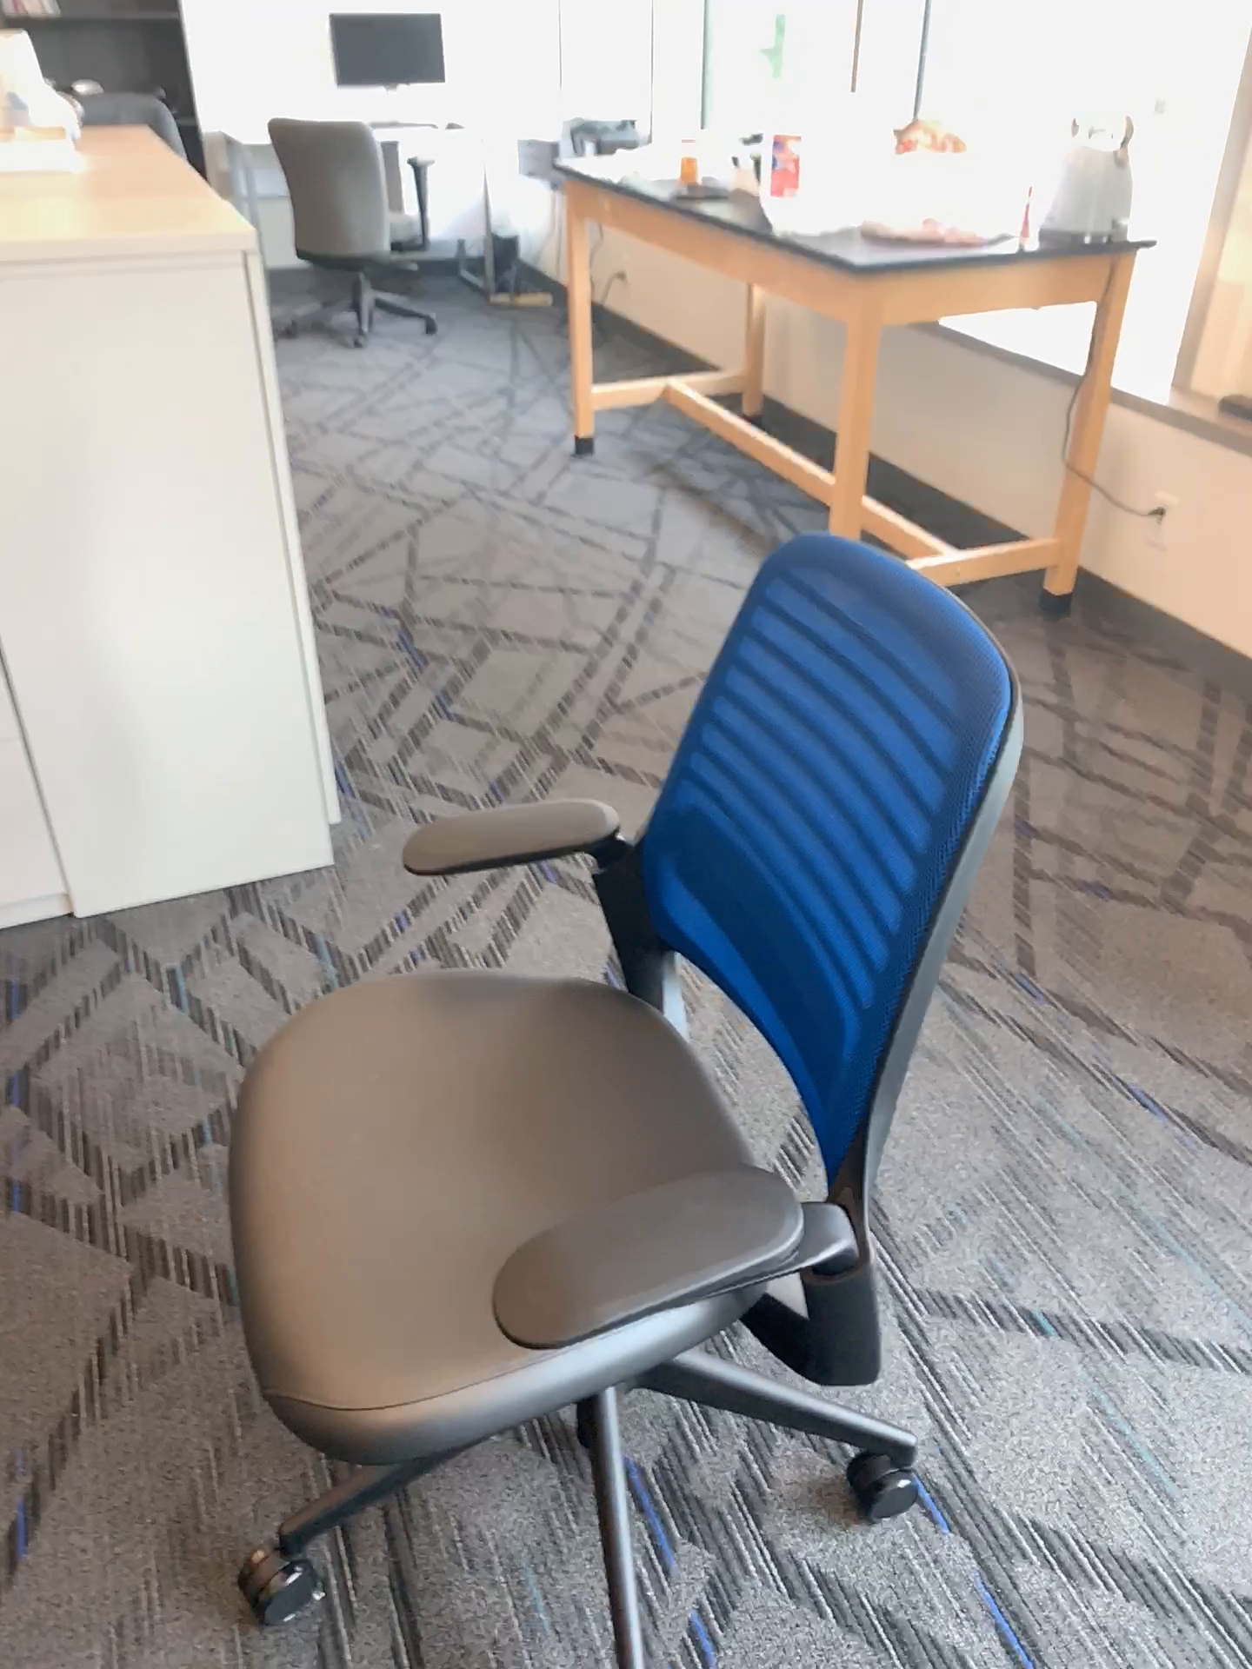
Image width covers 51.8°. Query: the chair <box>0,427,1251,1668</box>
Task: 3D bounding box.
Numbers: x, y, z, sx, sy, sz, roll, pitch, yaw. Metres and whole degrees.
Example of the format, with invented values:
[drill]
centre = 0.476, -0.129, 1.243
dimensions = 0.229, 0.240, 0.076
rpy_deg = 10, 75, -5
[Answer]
[chair]
centre = -0.074, 0.234, 1.080
dimensions = 0.681, 0.882, 0.705
rpy_deg = -12, 35, -18
